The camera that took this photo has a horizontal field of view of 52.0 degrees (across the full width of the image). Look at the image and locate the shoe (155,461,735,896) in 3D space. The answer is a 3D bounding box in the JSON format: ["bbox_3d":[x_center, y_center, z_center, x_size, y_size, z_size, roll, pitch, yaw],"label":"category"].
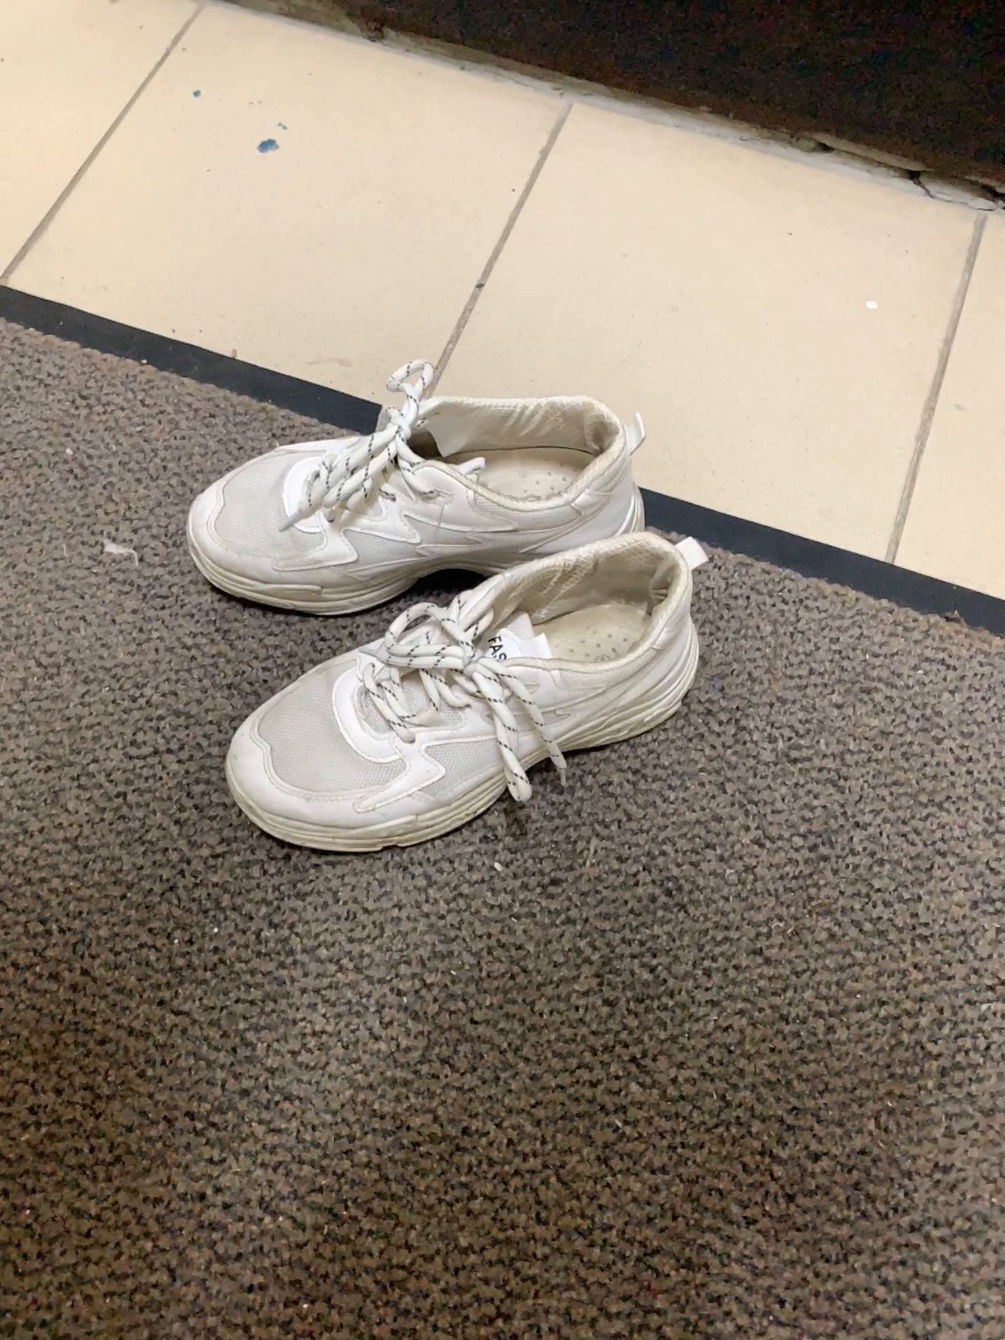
[{"bbox_3d":[-0.026,0.010,0.509,0.230,0.140,0.100,-19,68,-8],"label":"shoe"}]

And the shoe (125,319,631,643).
[{"bbox_3d":[-0.059,-0.095,0.554,0.230,0.140,0.100,-3,66,-2],"label":"shoe"}]
